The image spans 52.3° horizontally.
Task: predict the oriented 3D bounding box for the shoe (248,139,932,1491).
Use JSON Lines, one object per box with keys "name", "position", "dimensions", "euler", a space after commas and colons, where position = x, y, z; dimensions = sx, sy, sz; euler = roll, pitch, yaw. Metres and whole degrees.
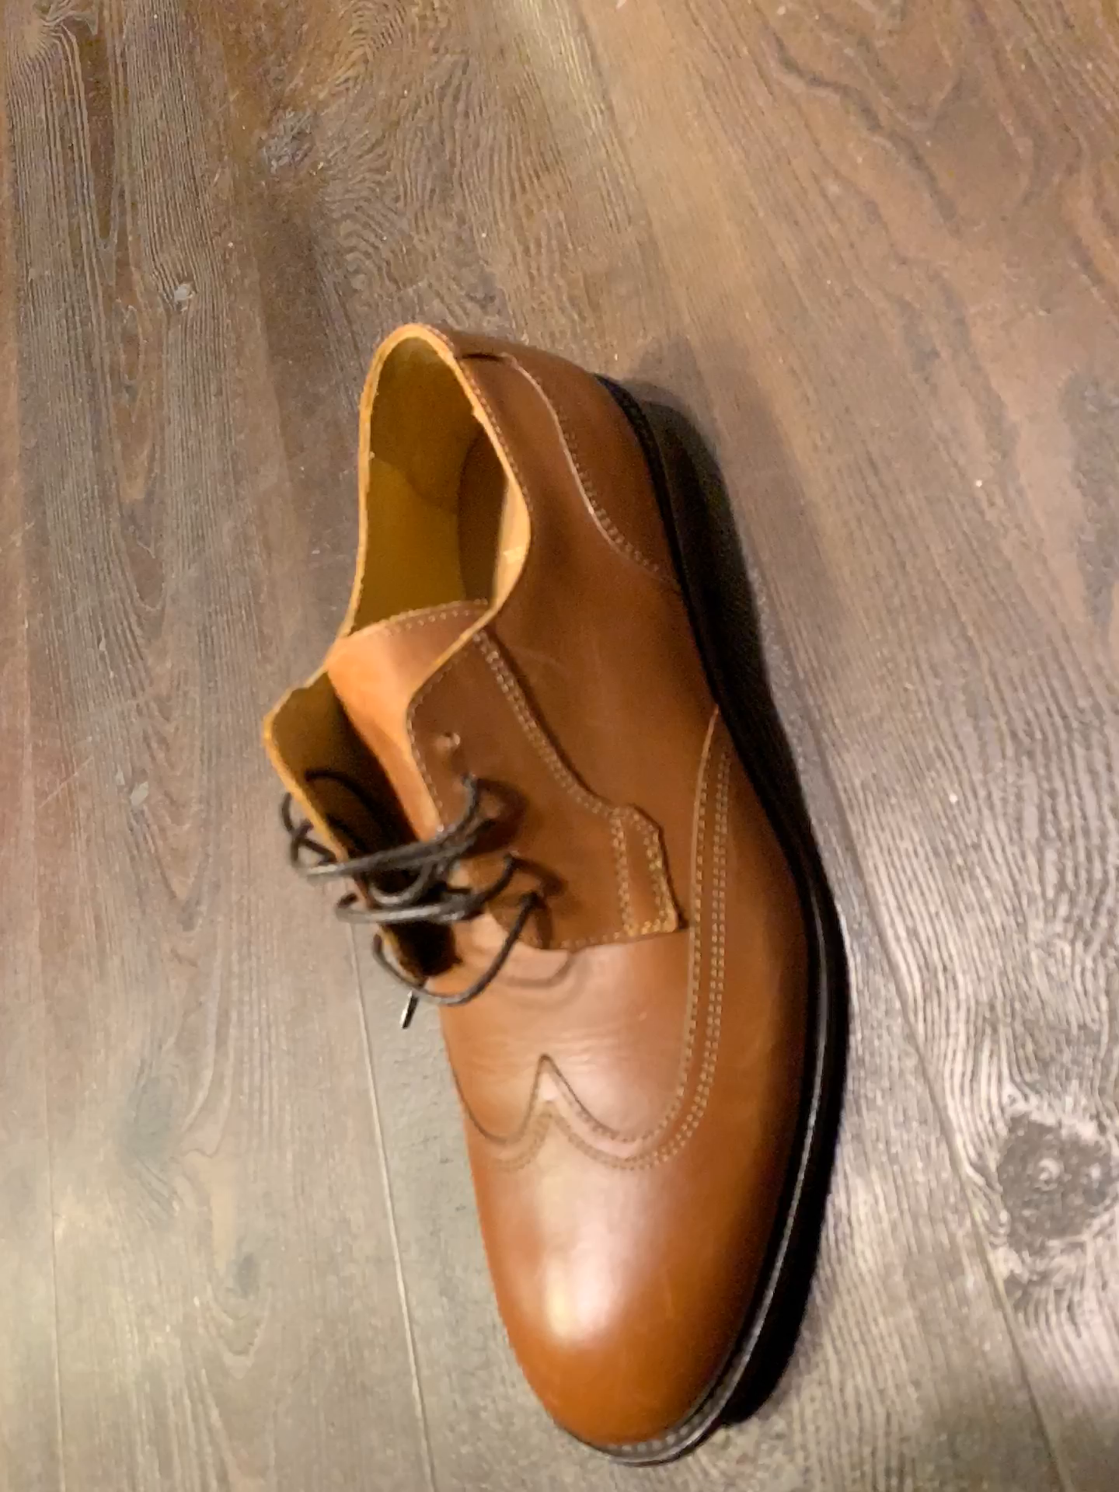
{"name": "shoe", "position": [0.000, 0.024, 0.314], "dimensions": [0.120, 0.109, 0.321], "euler": [-15, 70, 32]}
